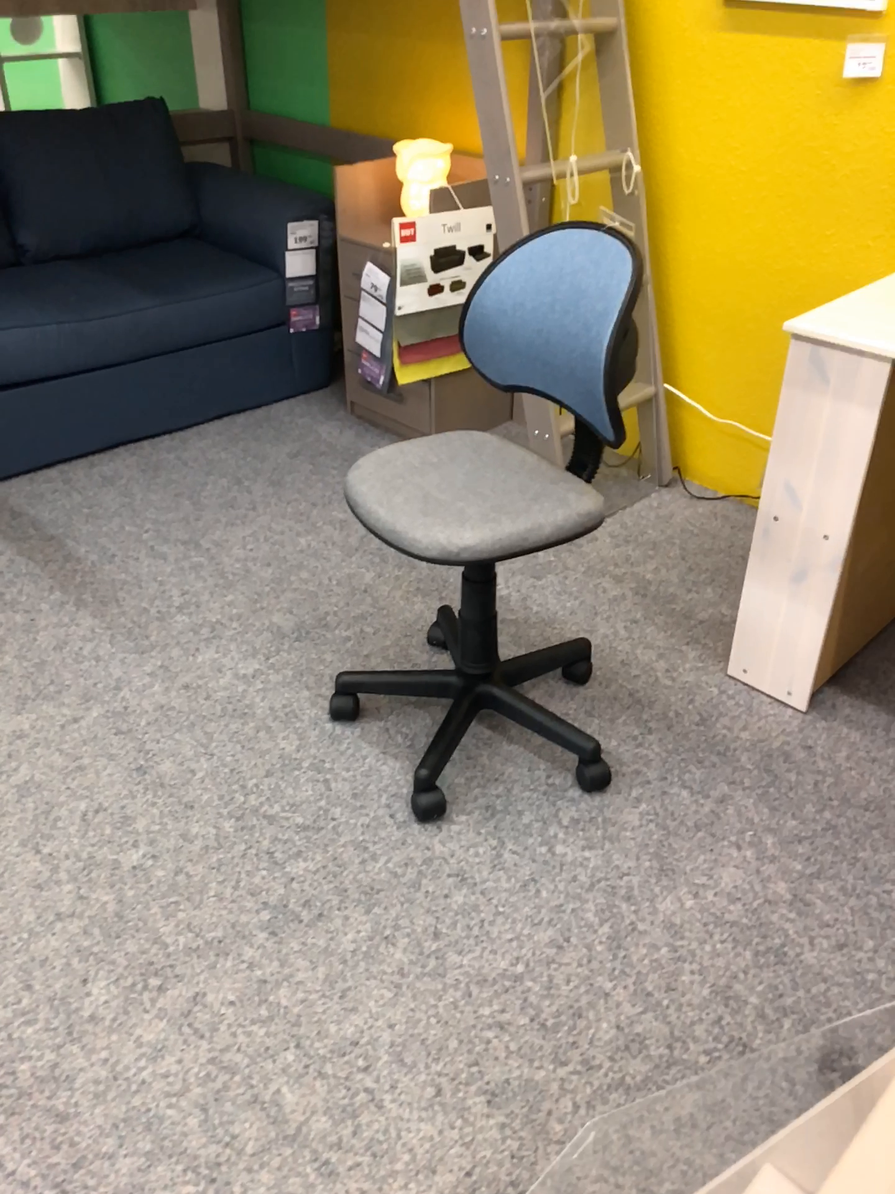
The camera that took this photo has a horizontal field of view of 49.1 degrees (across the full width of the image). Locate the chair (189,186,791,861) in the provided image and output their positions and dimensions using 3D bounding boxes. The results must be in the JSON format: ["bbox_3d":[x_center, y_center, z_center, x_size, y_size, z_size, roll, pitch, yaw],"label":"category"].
[{"bbox_3d":[0.039,-0.164,1.531,0.562,0.745,0.601,-23,40,-32],"label":"chair"}]
